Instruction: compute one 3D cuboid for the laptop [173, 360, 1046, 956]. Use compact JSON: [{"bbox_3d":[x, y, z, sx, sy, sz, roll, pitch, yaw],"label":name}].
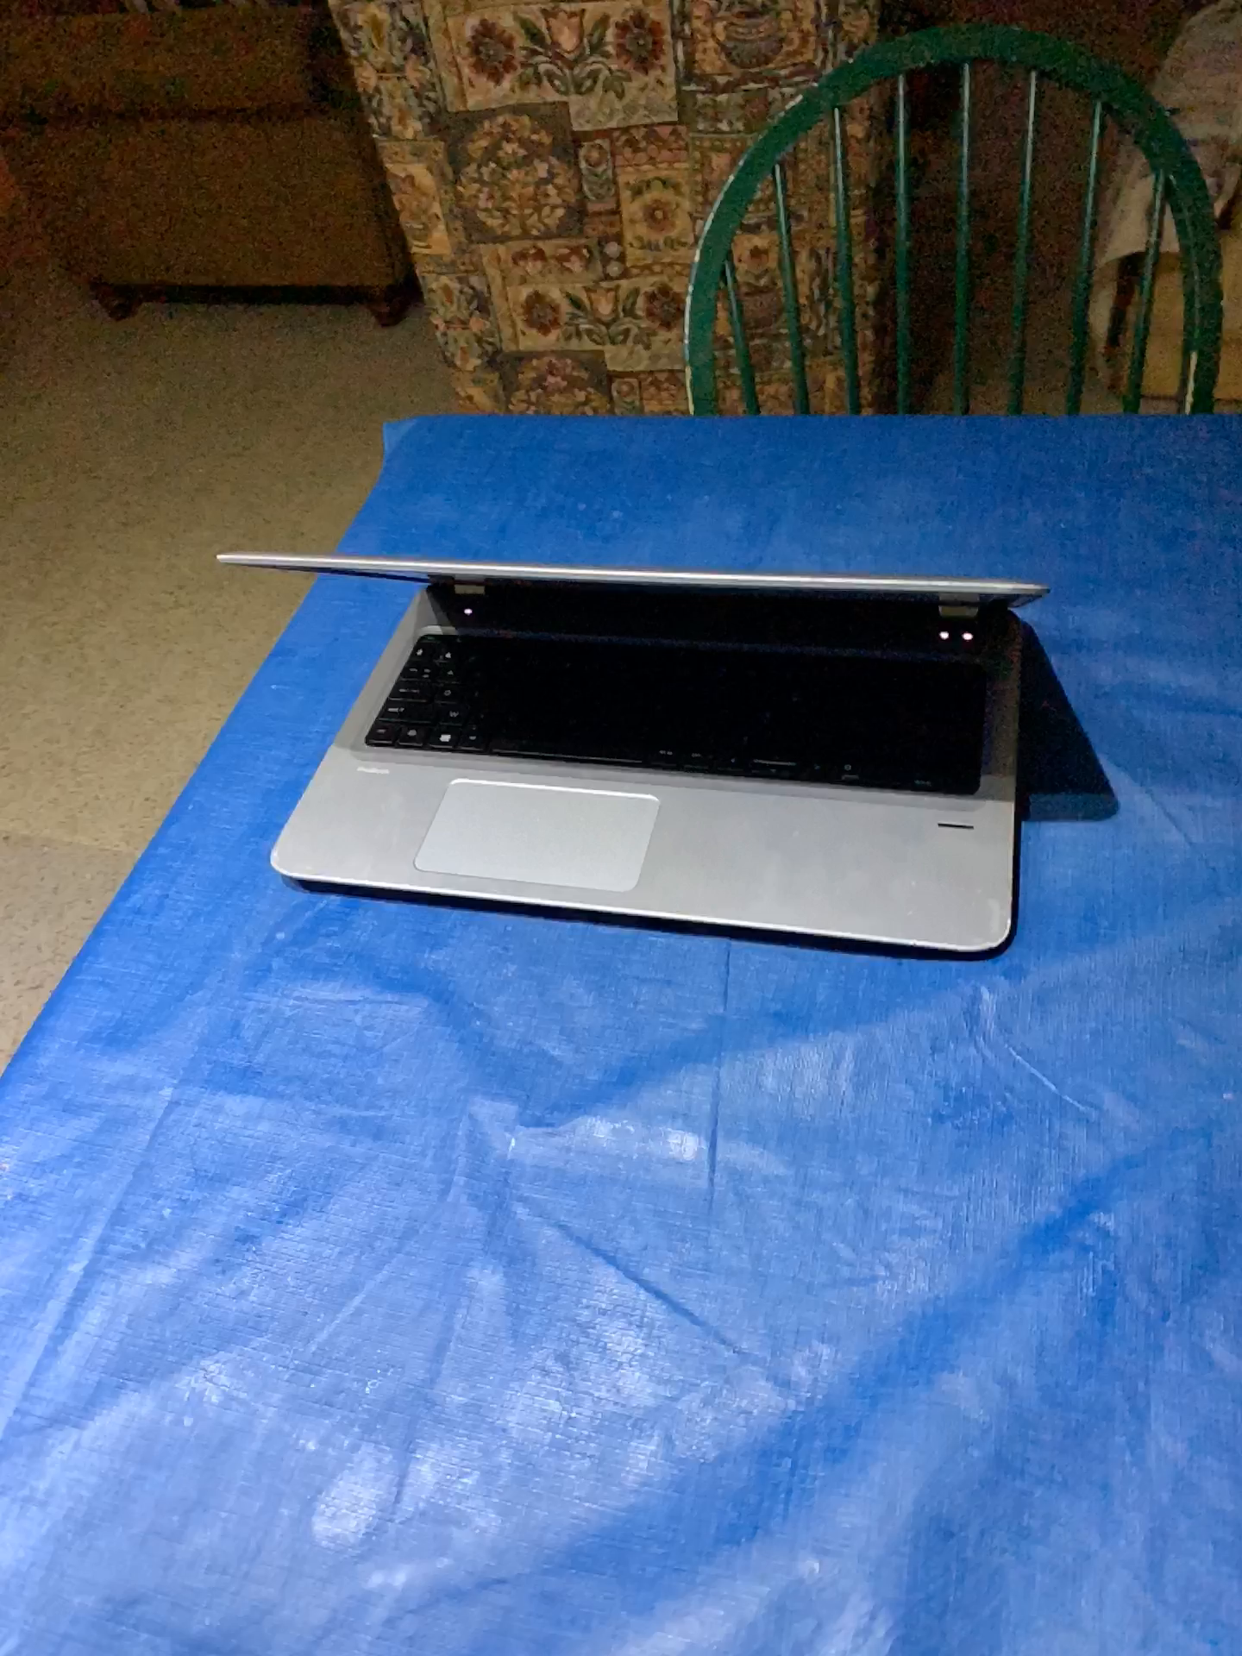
[{"bbox_3d":[0.015,-0.104,0.651,0.365,0.156,0.255,5,47,15],"label":"laptop"}]
